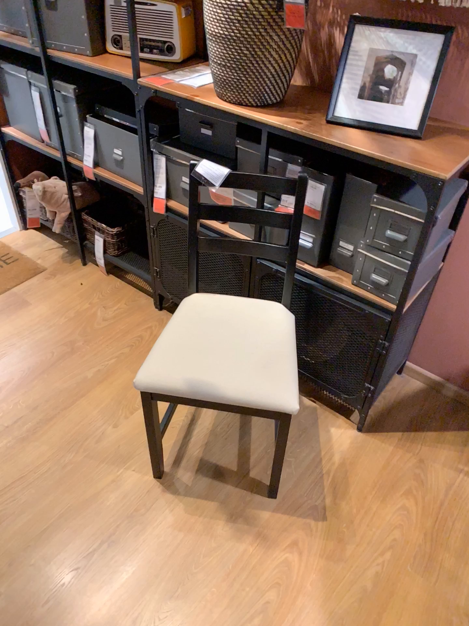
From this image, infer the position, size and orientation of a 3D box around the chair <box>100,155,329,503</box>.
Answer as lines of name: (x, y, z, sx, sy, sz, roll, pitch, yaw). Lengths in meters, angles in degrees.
chair: (-0.014, 0.054, 1.342, 0.430, 0.767, 0.542, 7, 41, 6)
